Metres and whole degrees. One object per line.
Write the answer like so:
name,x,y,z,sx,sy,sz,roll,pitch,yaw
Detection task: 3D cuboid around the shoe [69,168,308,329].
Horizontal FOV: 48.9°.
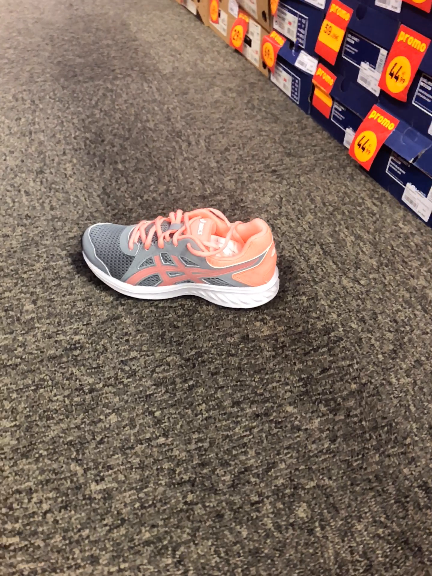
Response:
shoe,-0.027,-0.051,0.575,0.250,0.109,0.111,10,45,7
